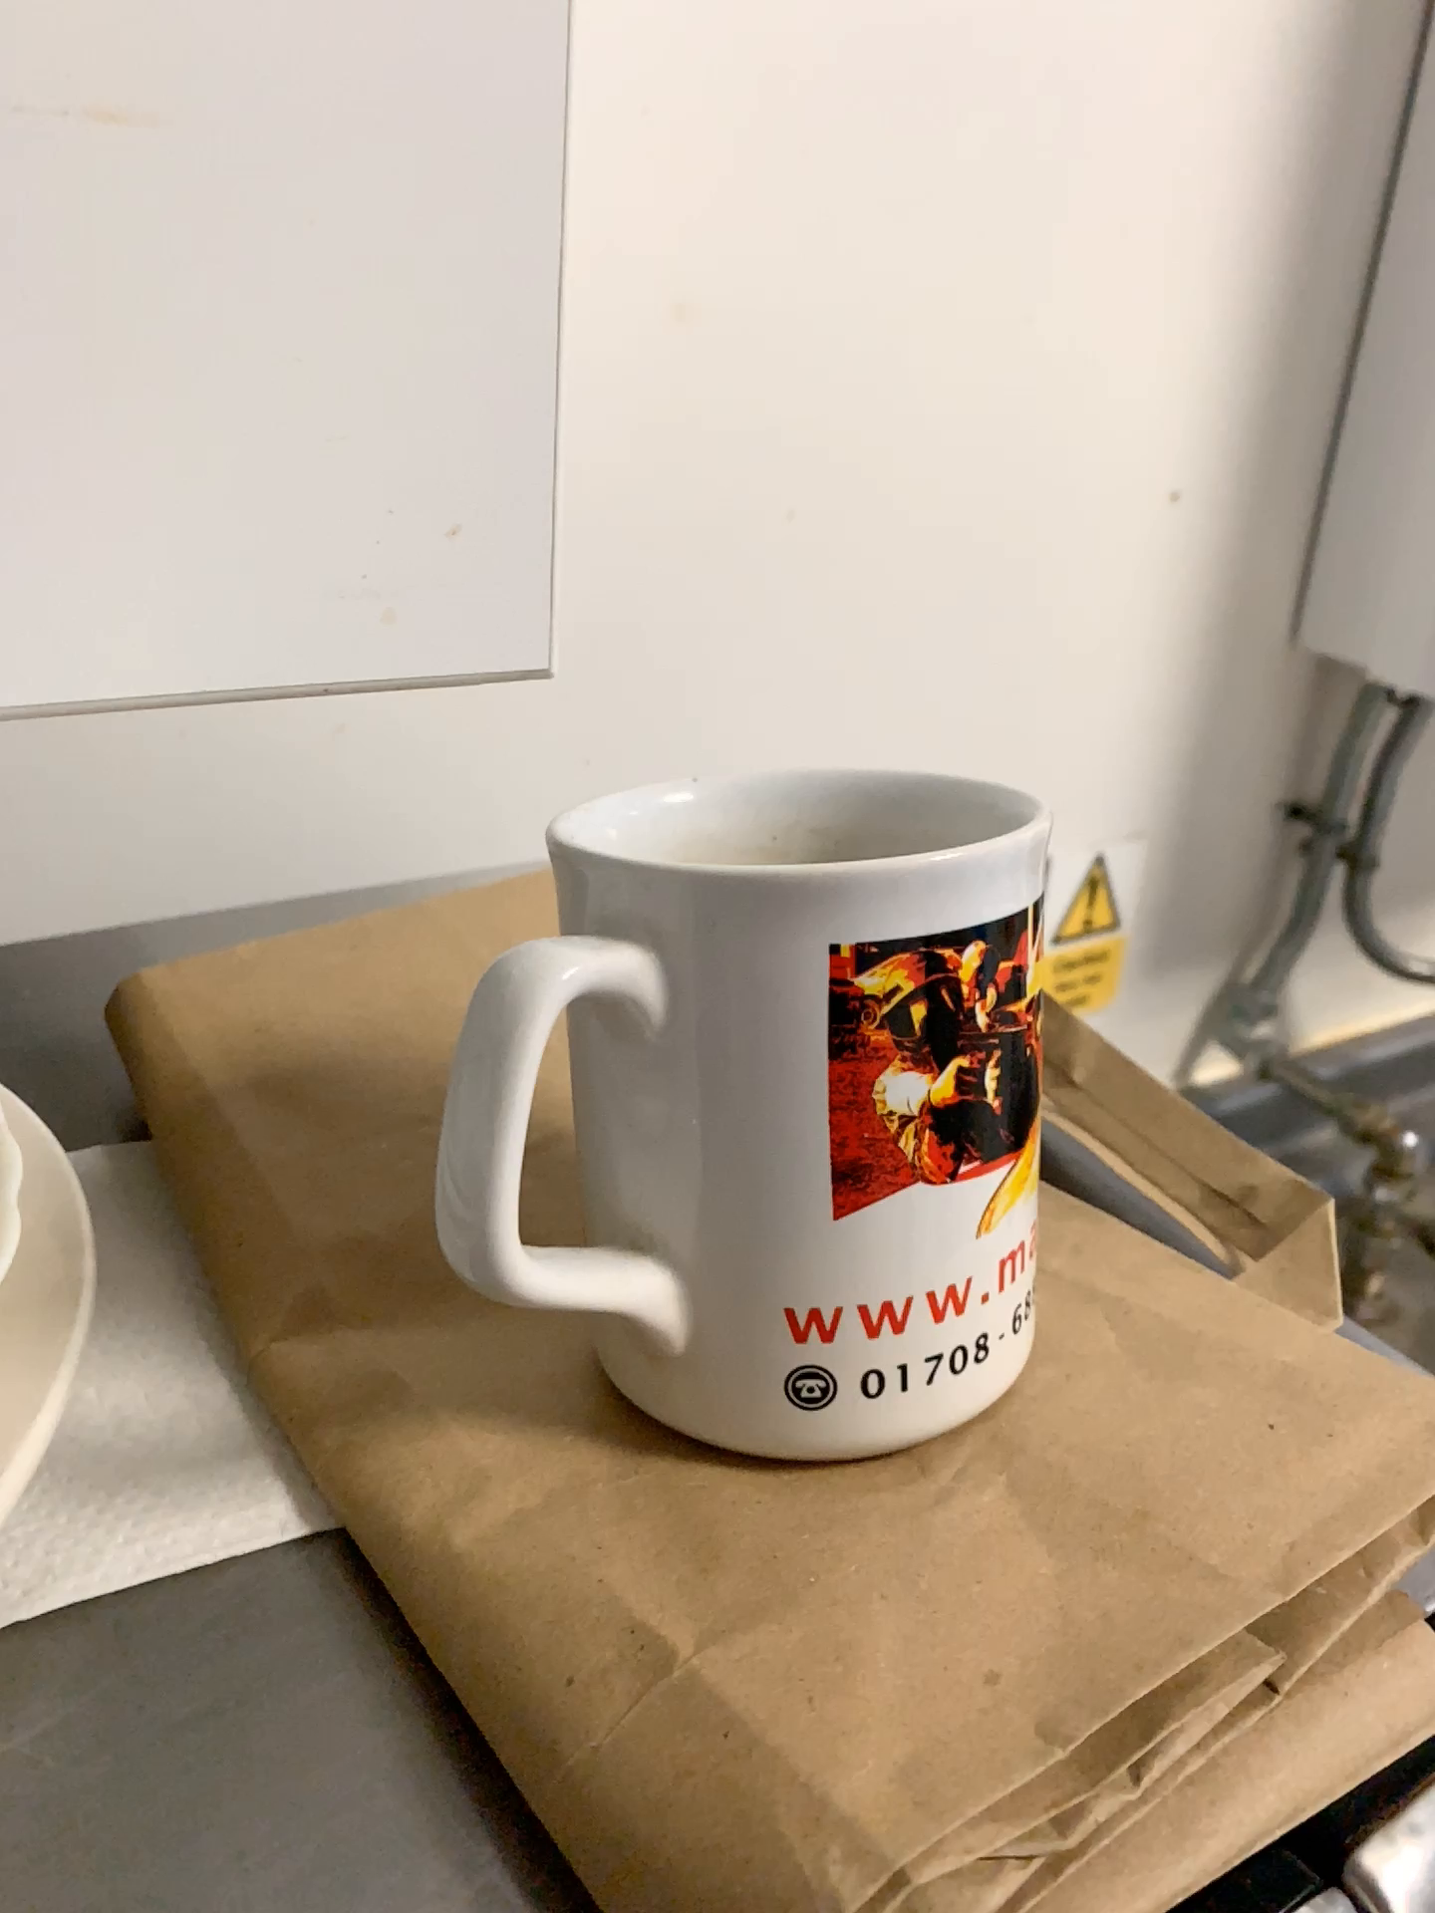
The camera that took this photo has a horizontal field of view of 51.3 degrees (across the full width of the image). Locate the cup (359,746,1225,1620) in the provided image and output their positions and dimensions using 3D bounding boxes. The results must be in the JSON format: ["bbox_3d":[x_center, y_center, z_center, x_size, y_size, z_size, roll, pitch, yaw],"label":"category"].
[{"bbox_3d":[0.012,0.021,0.230,0.100,0.088,0.078,-13,19,-36],"label":"cup"}]
